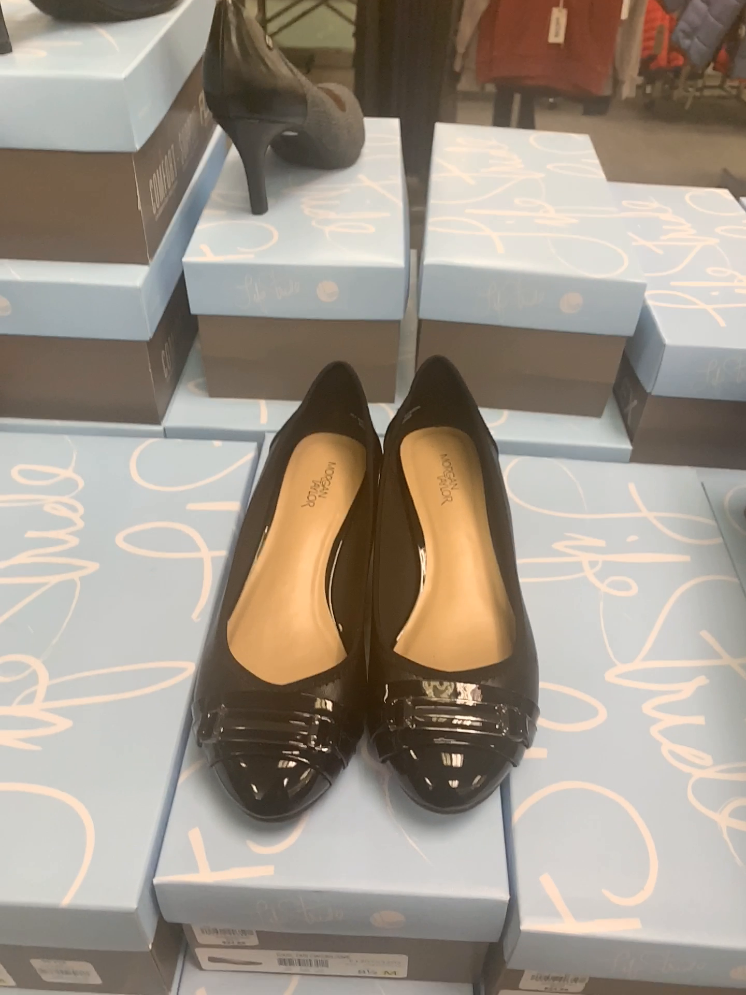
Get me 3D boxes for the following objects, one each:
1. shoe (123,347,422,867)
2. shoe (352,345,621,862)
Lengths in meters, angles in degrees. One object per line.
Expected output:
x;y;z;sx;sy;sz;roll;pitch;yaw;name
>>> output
-0.030;0.033;0.381;0.090;0.095;0.246;5;42;3;shoe
0.044;0.032;0.386;0.090;0.095;0.252;3;41;1;shoe
